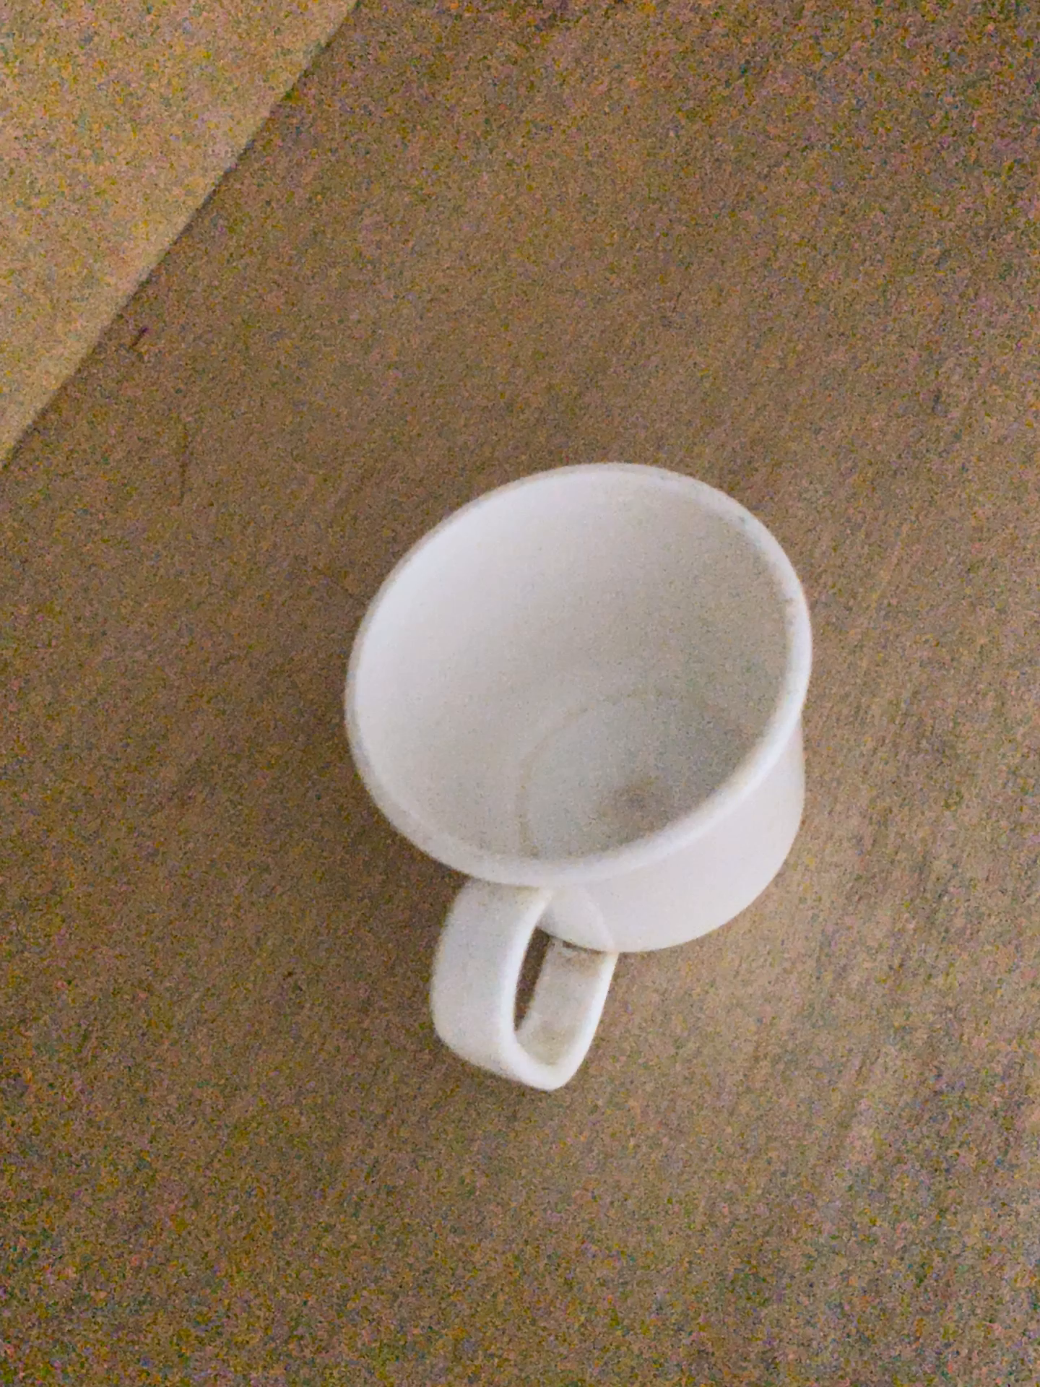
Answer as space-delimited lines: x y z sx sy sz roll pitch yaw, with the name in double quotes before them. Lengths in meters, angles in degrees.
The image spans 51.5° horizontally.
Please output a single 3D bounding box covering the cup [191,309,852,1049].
"cup" 0.011 -0.005 0.204 0.080 0.070 0.110 7 65 23
